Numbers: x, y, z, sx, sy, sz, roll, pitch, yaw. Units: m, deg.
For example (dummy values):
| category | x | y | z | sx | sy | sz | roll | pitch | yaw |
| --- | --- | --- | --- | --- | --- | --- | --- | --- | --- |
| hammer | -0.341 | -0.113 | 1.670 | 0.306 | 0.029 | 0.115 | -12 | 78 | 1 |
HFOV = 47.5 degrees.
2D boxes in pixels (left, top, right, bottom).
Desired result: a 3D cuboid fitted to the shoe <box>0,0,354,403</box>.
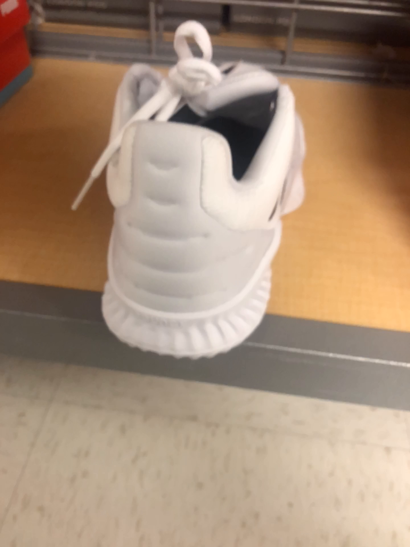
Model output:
| category | x | y | z | sx | sy | sz | roll | pitch | yaw |
| --- | --- | --- | --- | --- | --- | --- | --- | --- | --- |
| shoe | 0.013 | -0.113 | 0.311 | 0.120 | 0.149 | 0.337 | 12 | 47 | 9 |
